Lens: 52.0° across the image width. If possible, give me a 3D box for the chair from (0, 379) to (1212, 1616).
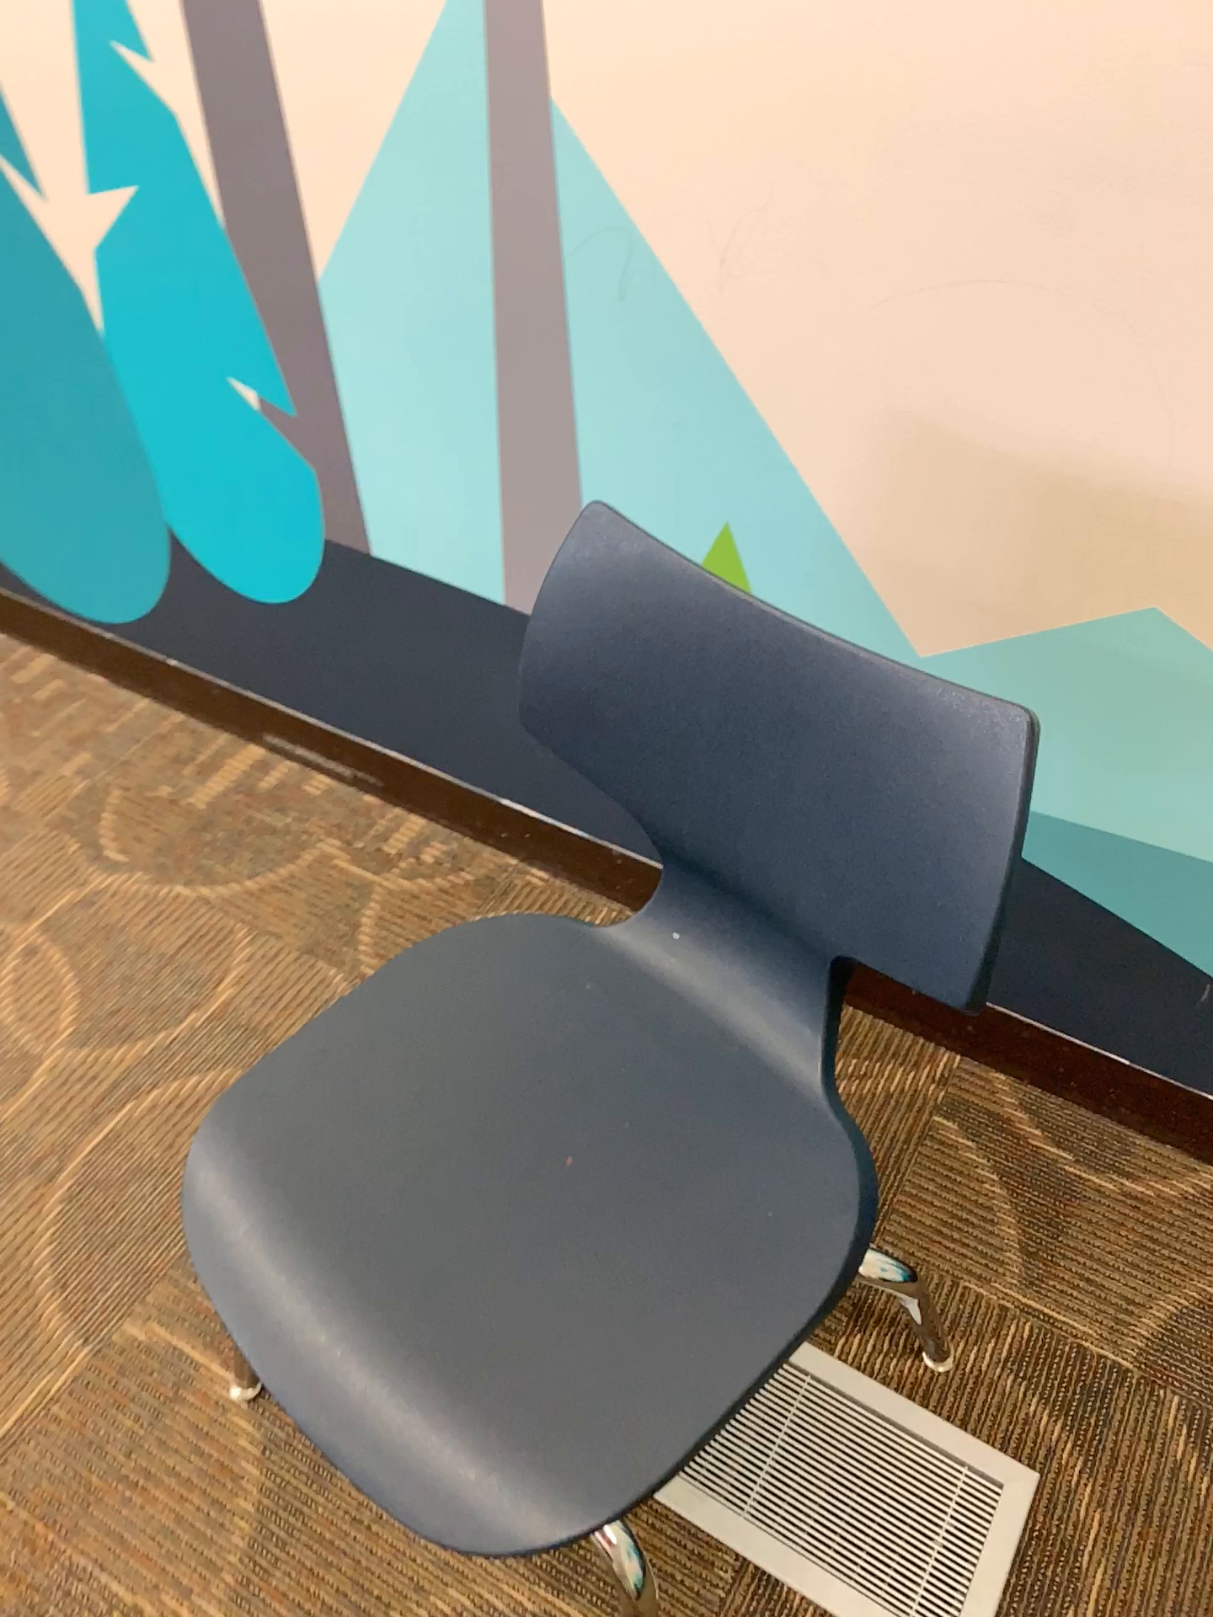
[{"bbox_3d":[-0.018,0.225,0.913,0.571,0.747,0.581,33,53,30],"label":"chair"}]
